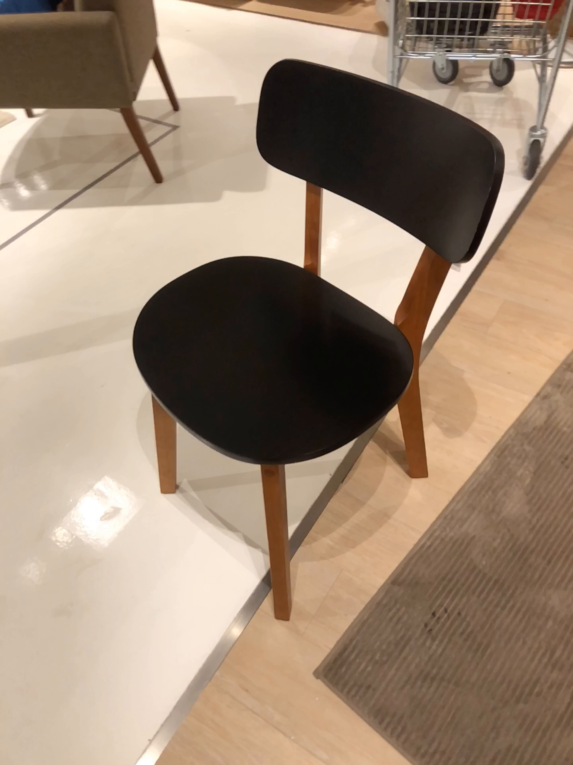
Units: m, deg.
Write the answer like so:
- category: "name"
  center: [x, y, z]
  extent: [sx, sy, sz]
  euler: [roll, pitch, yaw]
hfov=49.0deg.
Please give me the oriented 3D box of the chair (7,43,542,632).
- category: "chair"
  center: [0.000, -0.057, 1.041]
  extent: [0.482, 0.705, 0.462]
  euler: [-37, 55, -25]
